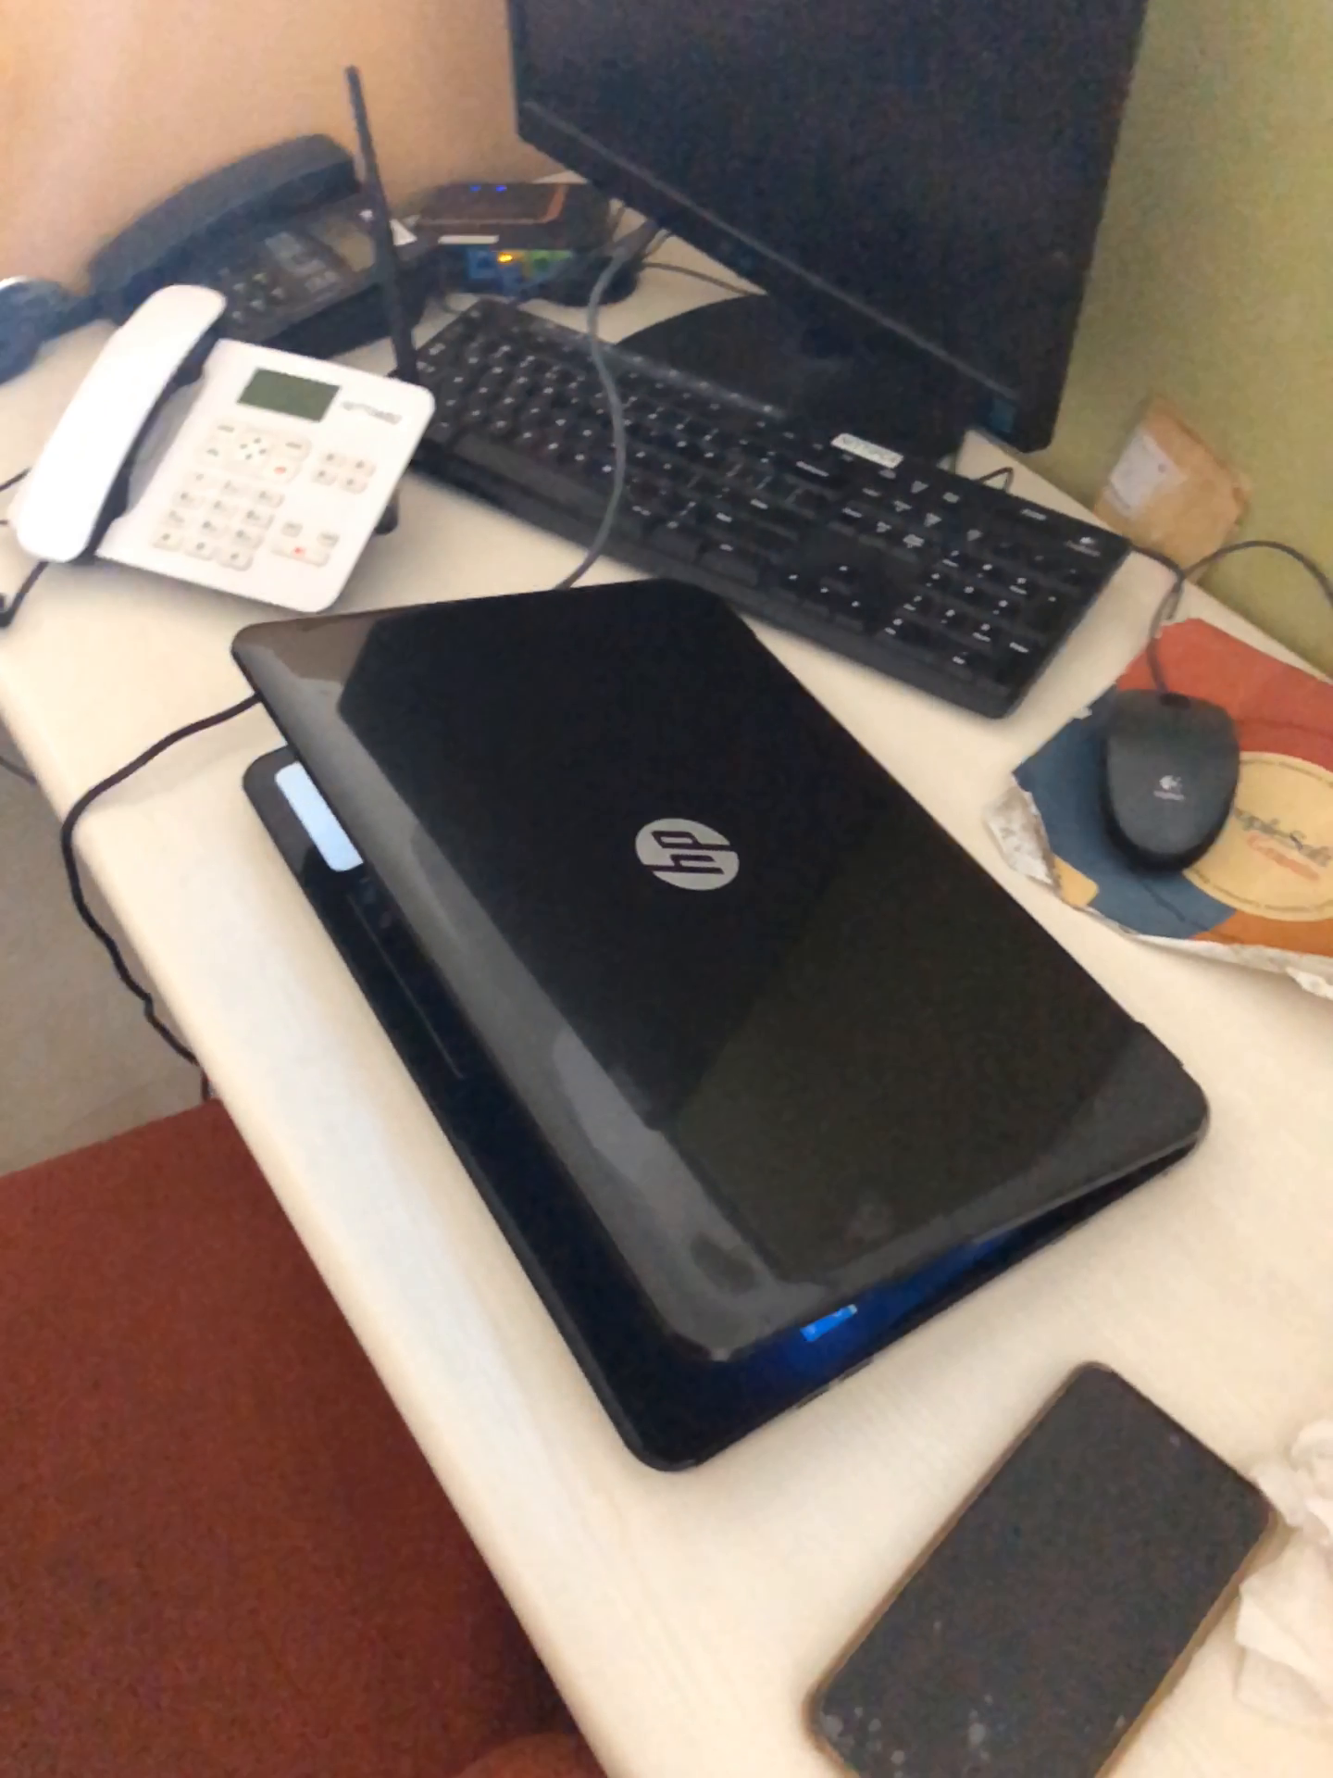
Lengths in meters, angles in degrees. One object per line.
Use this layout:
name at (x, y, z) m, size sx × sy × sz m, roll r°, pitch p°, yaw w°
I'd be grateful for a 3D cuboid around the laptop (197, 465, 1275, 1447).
laptop at (0.005, -0.009, 0.573) m, size 0.246 × 0.072 × 0.351 m, roll -25°, pitch 55°, yaw -19°
